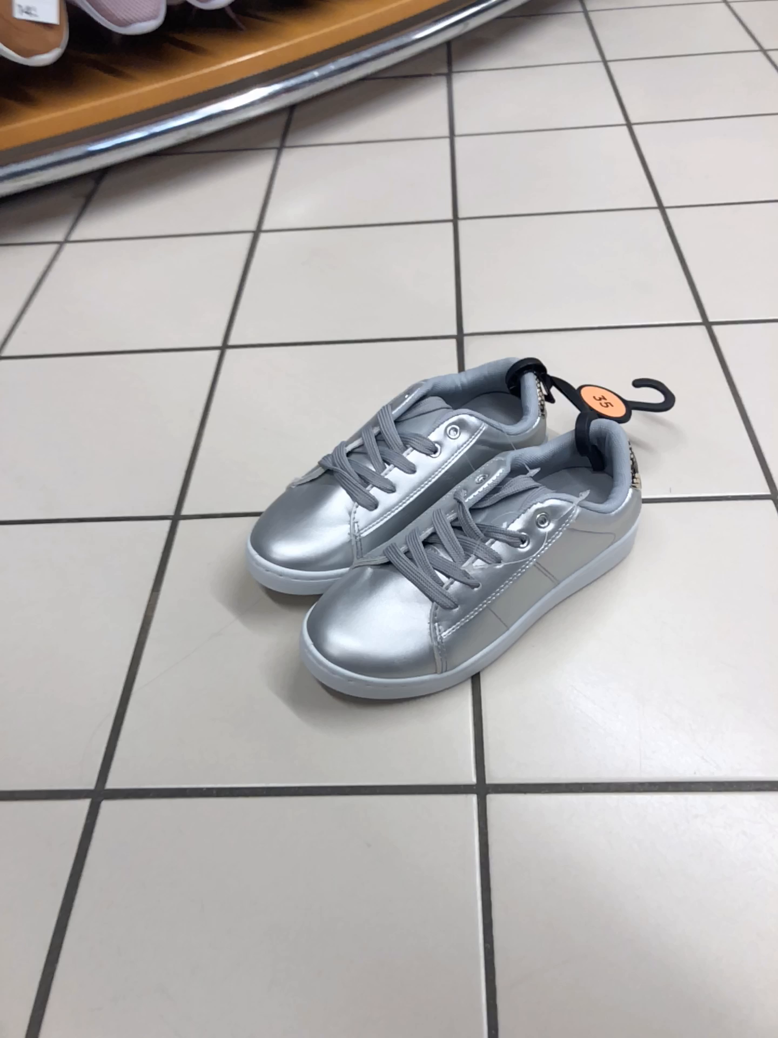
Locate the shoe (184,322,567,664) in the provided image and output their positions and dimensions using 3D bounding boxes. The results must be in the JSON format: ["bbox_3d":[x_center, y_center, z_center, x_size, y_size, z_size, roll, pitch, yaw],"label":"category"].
[{"bbox_3d":[0.000,-0.025,0.556,0.231,0.090,0.090,-33,52,-24],"label":"shoe"}]

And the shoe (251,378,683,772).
[{"bbox_3d":[0.050,0.023,0.494,0.231,0.090,0.090,-31,51,-23],"label":"shoe"}]
